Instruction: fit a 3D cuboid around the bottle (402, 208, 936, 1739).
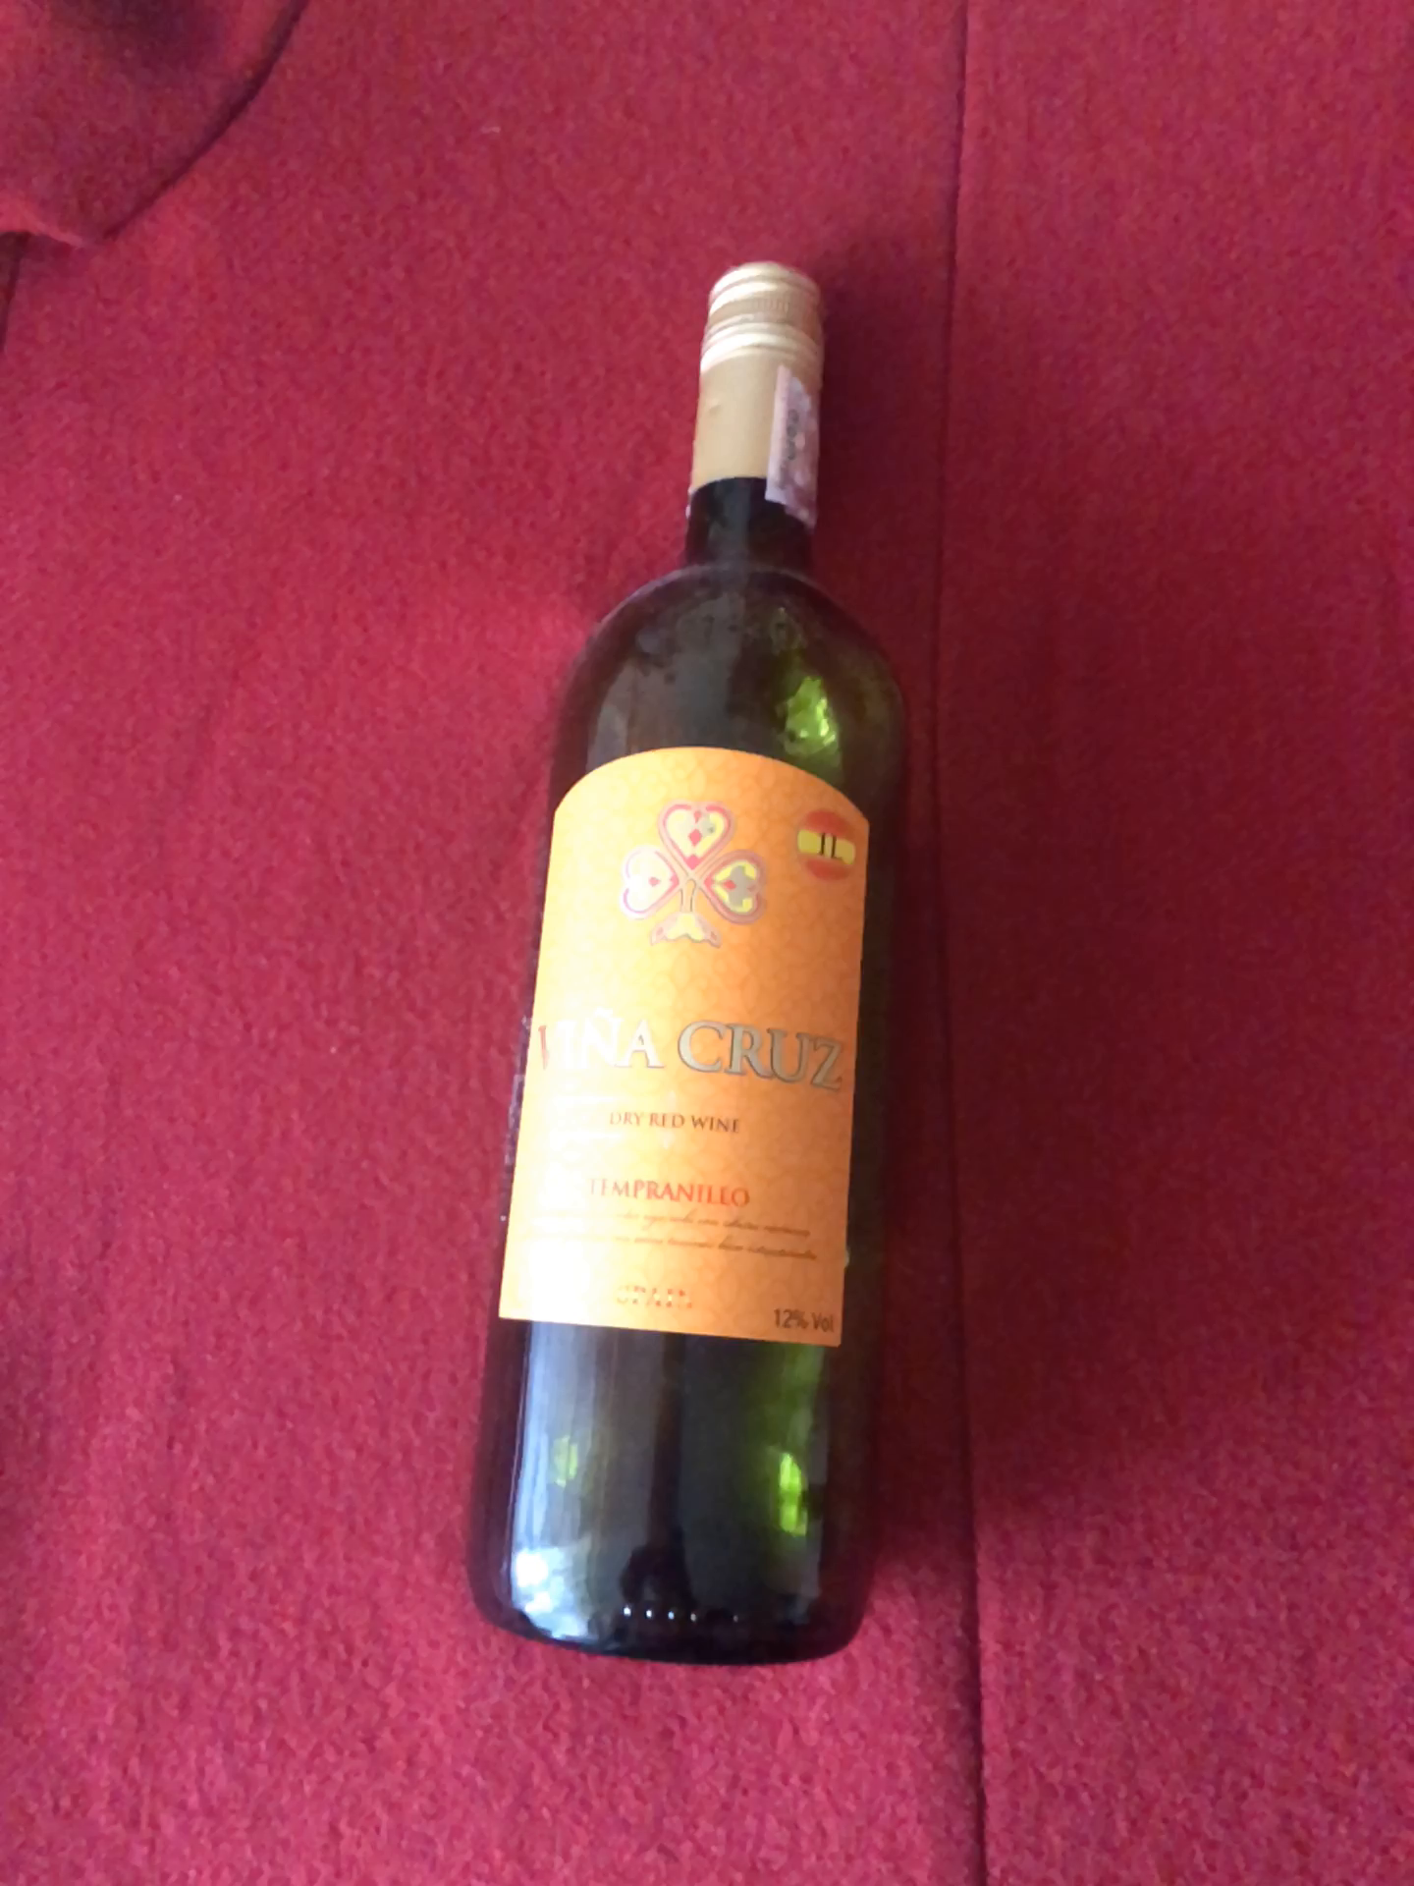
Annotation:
[{"bbox_3d":[0.002,-0.005,0.337,0.080,0.070,0.300,2,75,8],"label":"bottle"}]
